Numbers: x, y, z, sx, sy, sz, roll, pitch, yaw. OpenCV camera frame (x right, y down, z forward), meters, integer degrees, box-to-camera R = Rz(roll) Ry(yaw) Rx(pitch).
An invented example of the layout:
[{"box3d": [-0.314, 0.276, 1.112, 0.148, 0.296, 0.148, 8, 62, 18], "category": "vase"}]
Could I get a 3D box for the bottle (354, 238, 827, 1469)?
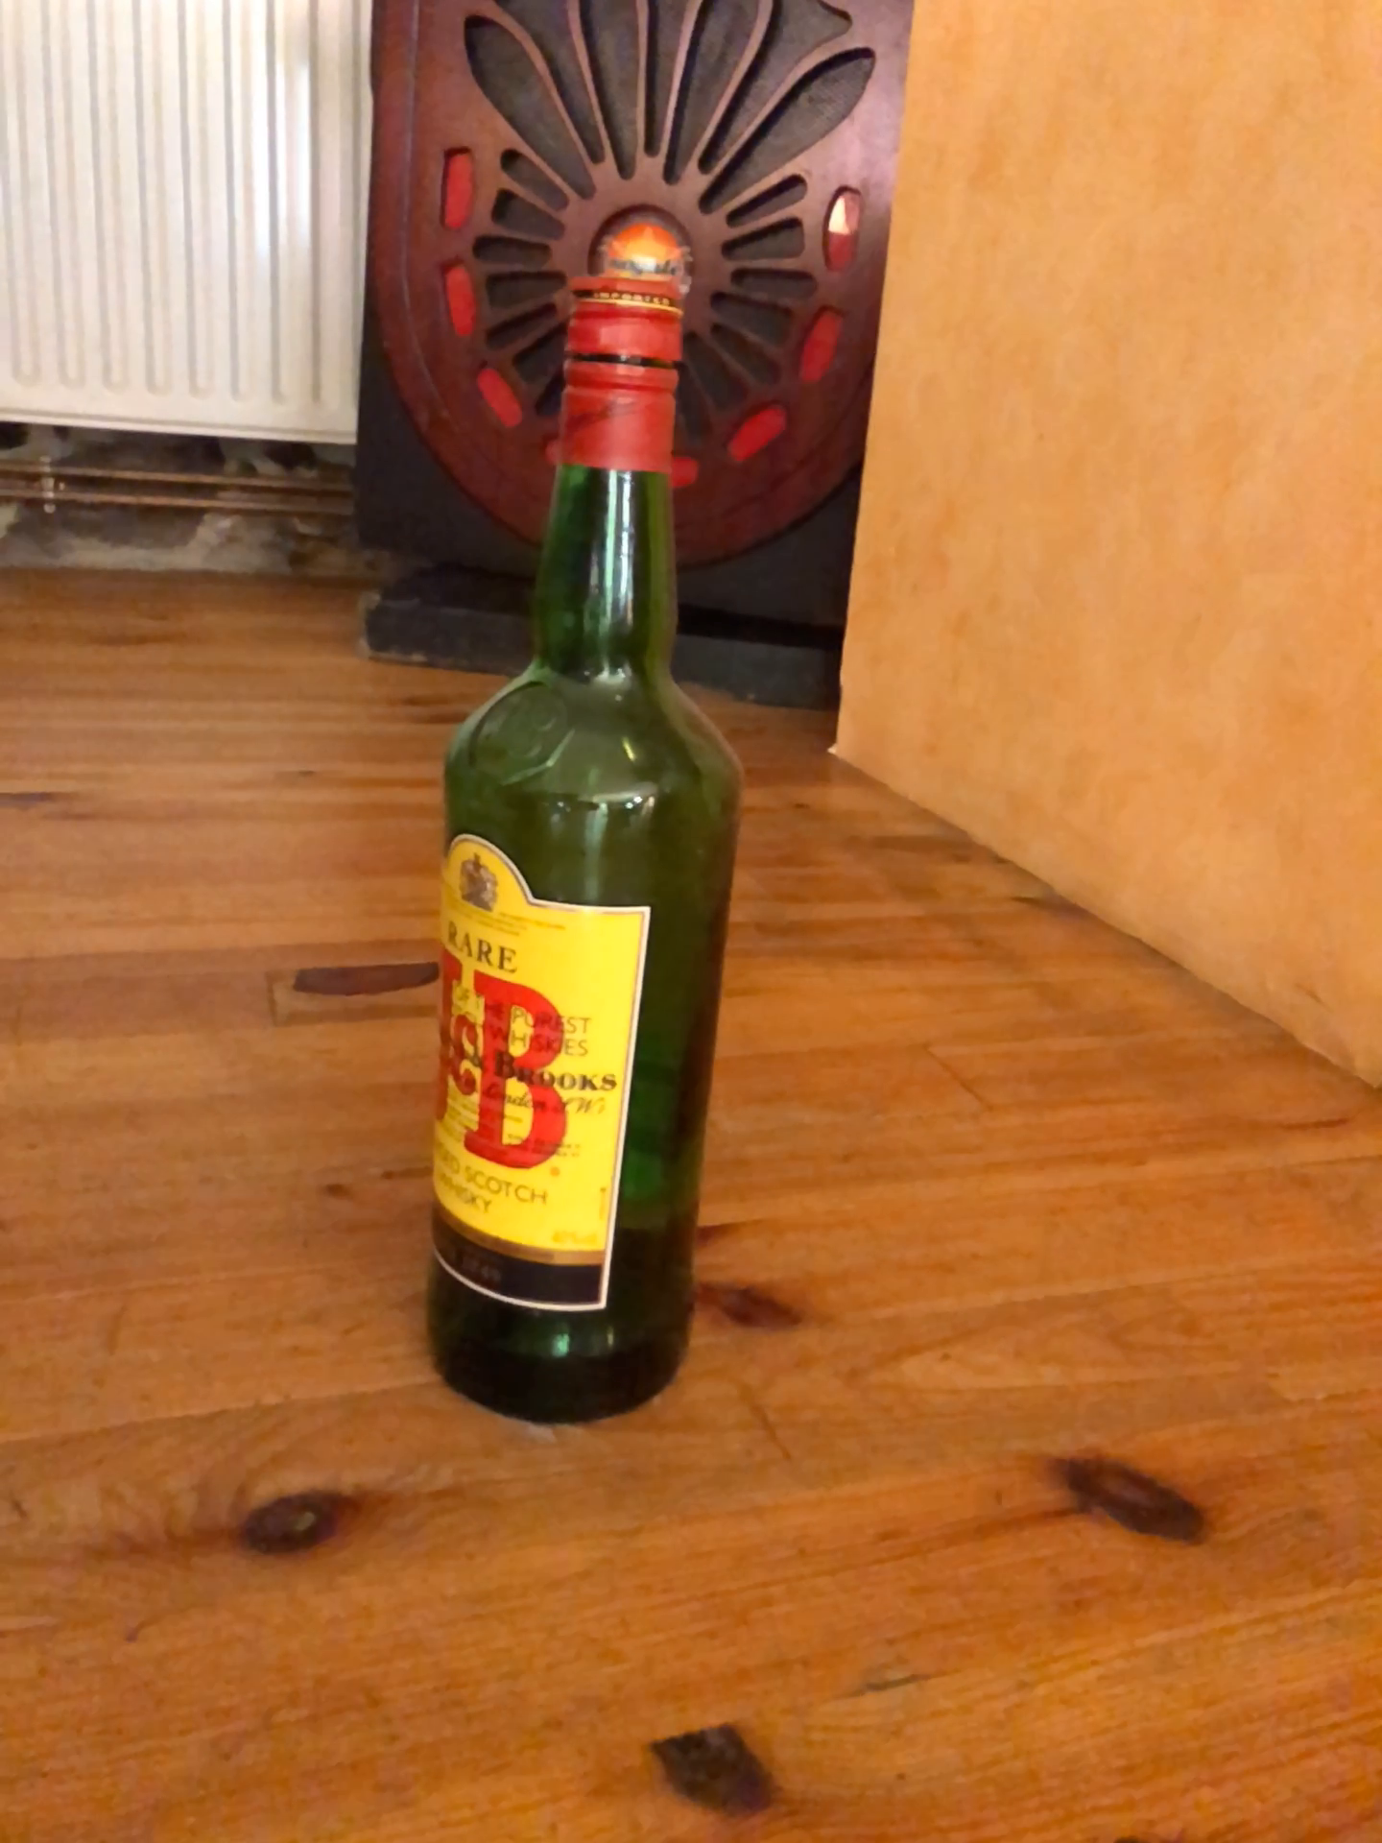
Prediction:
[{"box3d": [-0.037, -0.016, 0.433, 0.080, 0.319, 0.090, -13, 25, -41], "category": "bottle"}]
